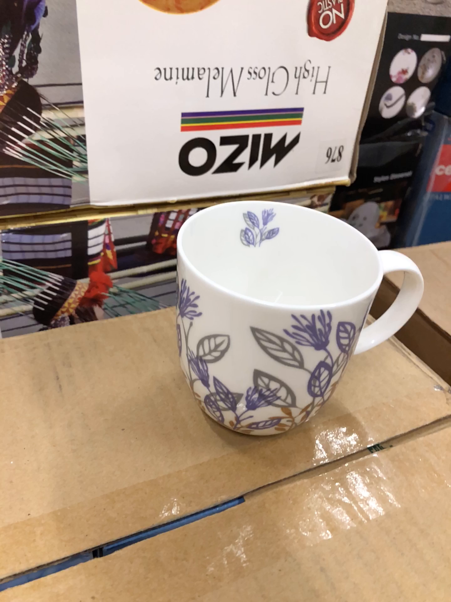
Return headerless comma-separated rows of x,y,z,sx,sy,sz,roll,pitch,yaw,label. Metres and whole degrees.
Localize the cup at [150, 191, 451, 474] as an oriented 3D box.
0.035,0.005,0.229,0.120,0.069,0.090,-8,37,-20,cup
